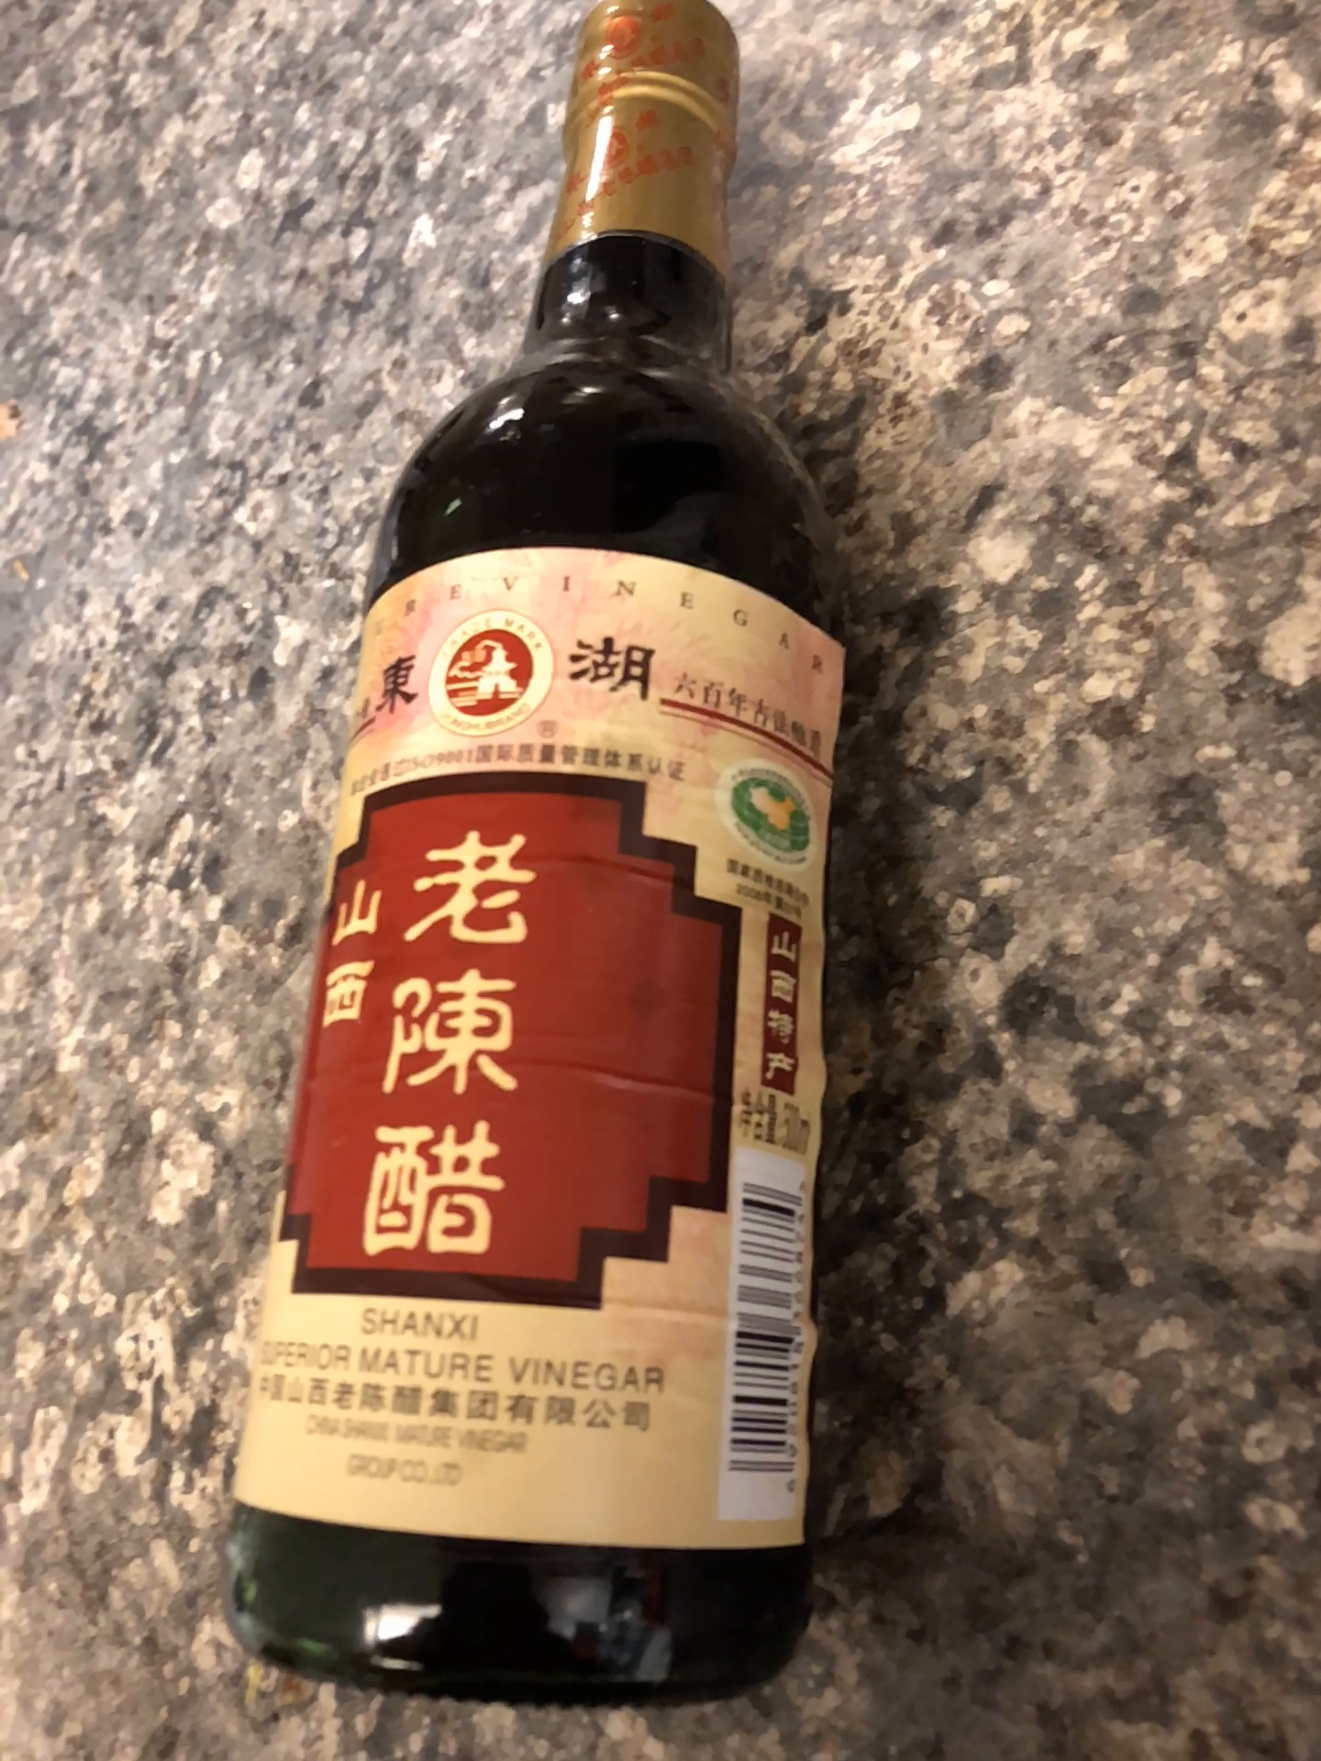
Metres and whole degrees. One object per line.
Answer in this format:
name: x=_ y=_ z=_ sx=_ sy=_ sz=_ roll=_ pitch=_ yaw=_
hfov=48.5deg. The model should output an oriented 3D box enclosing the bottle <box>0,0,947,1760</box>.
bottle: x=-0.011 y=-0.028 z=0.190 sx=0.070 sy=0.070 sz=0.240 roll=-7 pitch=68 yaw=30
